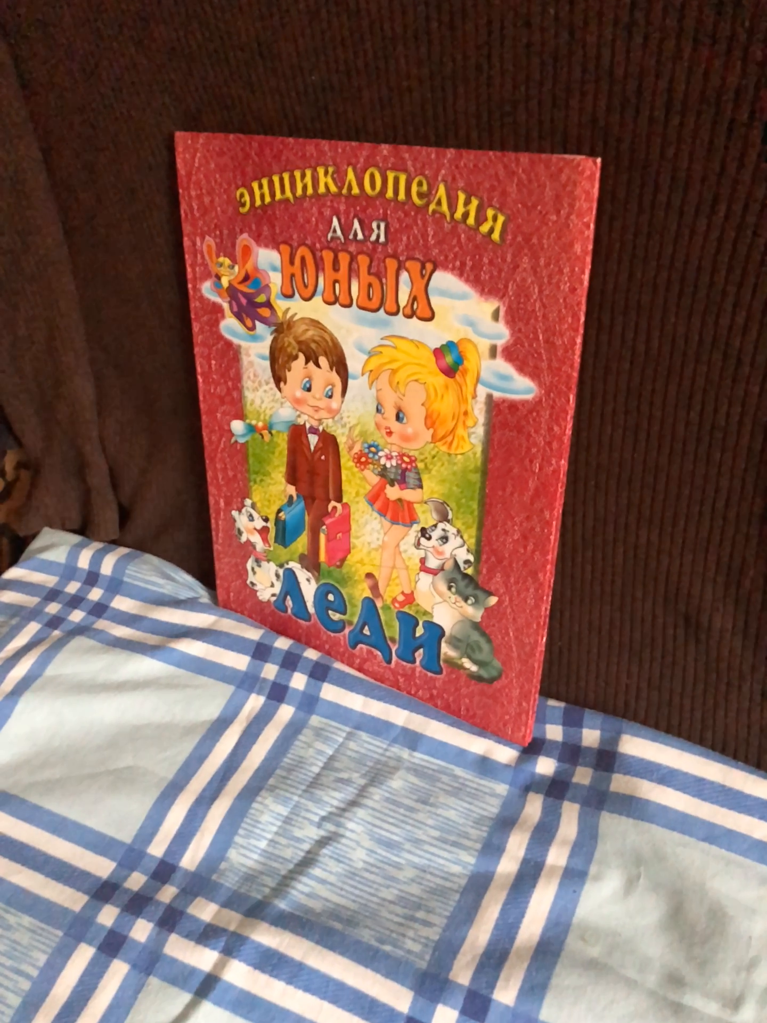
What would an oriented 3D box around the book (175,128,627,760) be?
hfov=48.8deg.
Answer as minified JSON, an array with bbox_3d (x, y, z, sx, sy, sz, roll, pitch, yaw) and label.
[{"bbox_3d":[-0.009,-0.034,0.455,0.230,0.303,0.020,17,30,28],"label":"book"}]
